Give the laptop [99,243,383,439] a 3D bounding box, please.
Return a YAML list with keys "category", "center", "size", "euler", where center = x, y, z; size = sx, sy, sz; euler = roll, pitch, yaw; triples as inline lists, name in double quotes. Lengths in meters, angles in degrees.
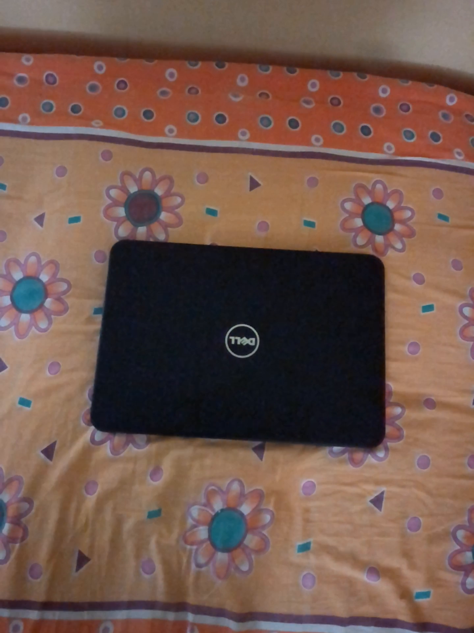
- category: "laptop"
  center: [0.010, 0.027, 0.681]
  size: [0.358, 0.001, 0.236]
  euler: [3, 79, 0]
